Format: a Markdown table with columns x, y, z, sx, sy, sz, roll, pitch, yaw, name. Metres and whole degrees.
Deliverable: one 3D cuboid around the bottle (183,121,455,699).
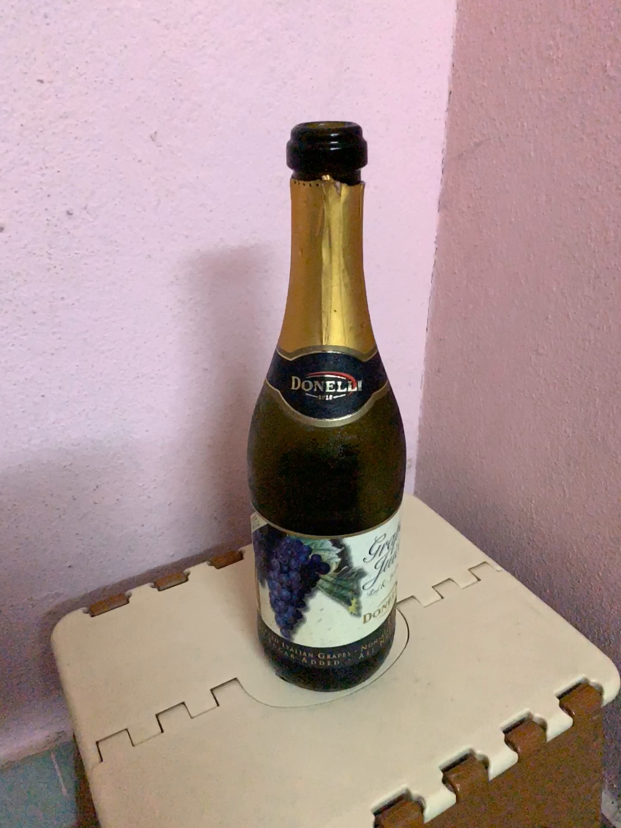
| x | y | z | sx | sy | sz | roll | pitch | yaw | name |
| --- | --- | --- | --- | --- | --- | --- | --- | --- | --- |
| 0.005 | 0.014 | 0.310 | 0.090 | 0.279 | 0.070 | 0 | 29 | 2 | bottle |
